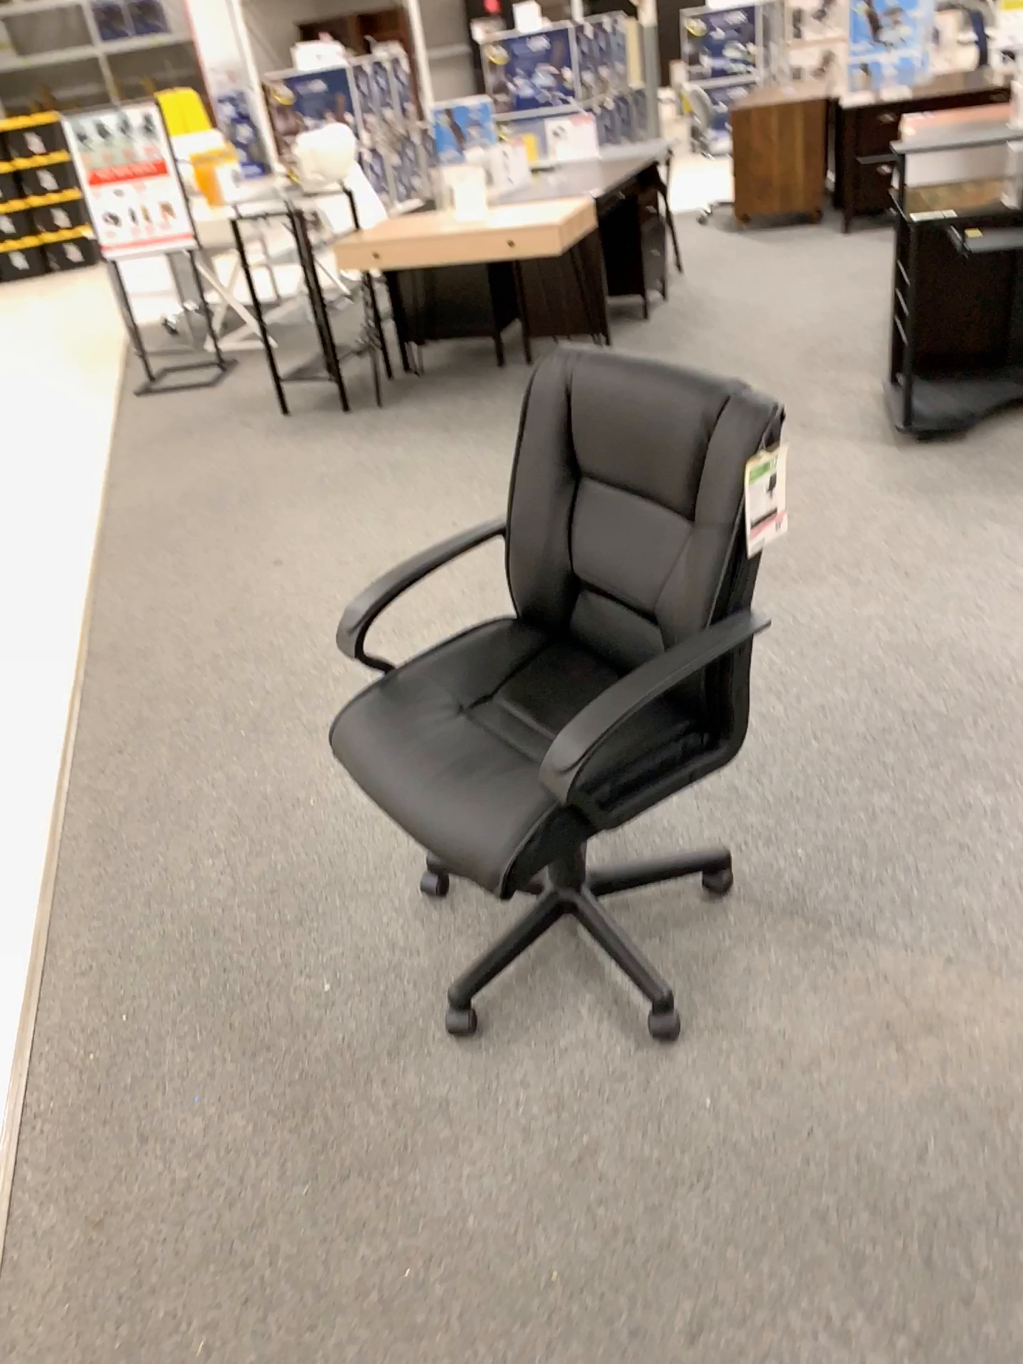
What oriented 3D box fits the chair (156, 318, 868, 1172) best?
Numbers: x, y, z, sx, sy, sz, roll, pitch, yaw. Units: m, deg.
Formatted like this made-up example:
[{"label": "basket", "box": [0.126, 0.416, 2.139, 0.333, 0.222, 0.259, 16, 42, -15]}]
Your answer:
[{"label": "chair", "box": [0.026, 0.053, 1.679, 0.700, 0.964, 0.684, -27, 39, -25]}]
